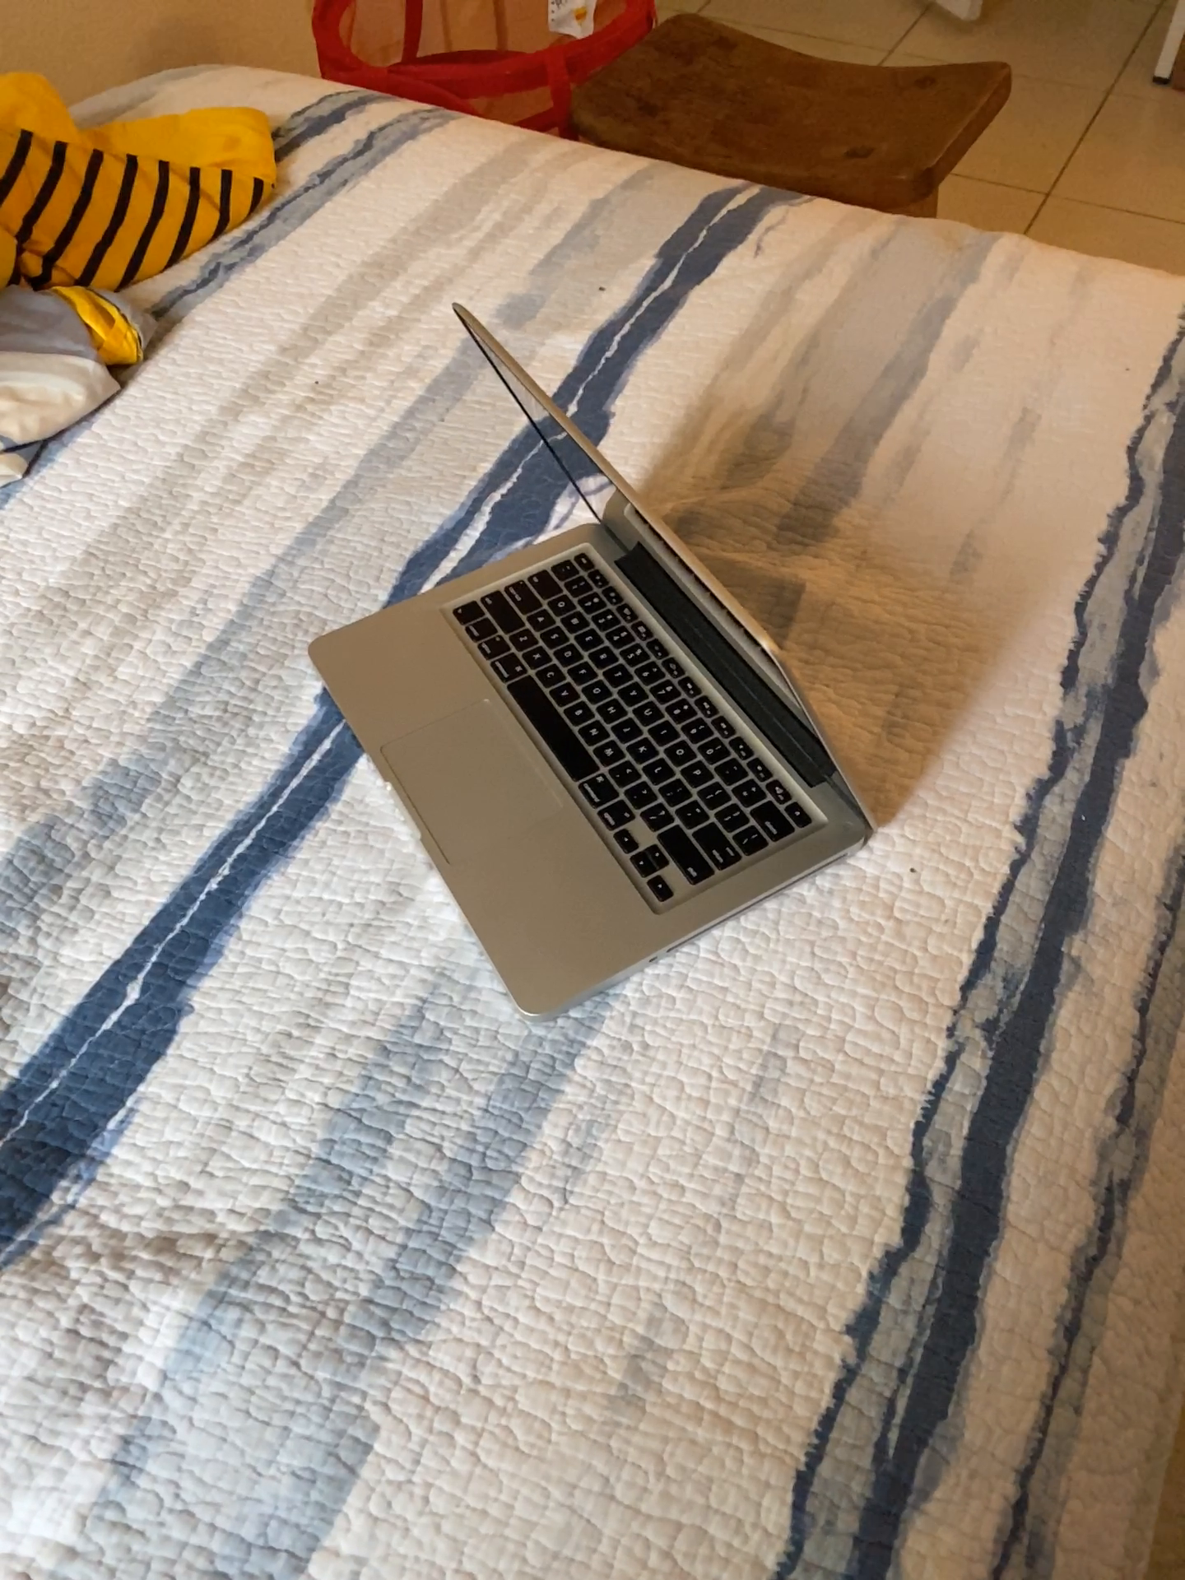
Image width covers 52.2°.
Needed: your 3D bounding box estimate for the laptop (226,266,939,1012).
[{"bbox_3d":[-0.019,-0.095,0.669,0.220,0.191,0.316,-26,55,-15],"label":"laptop"}]
